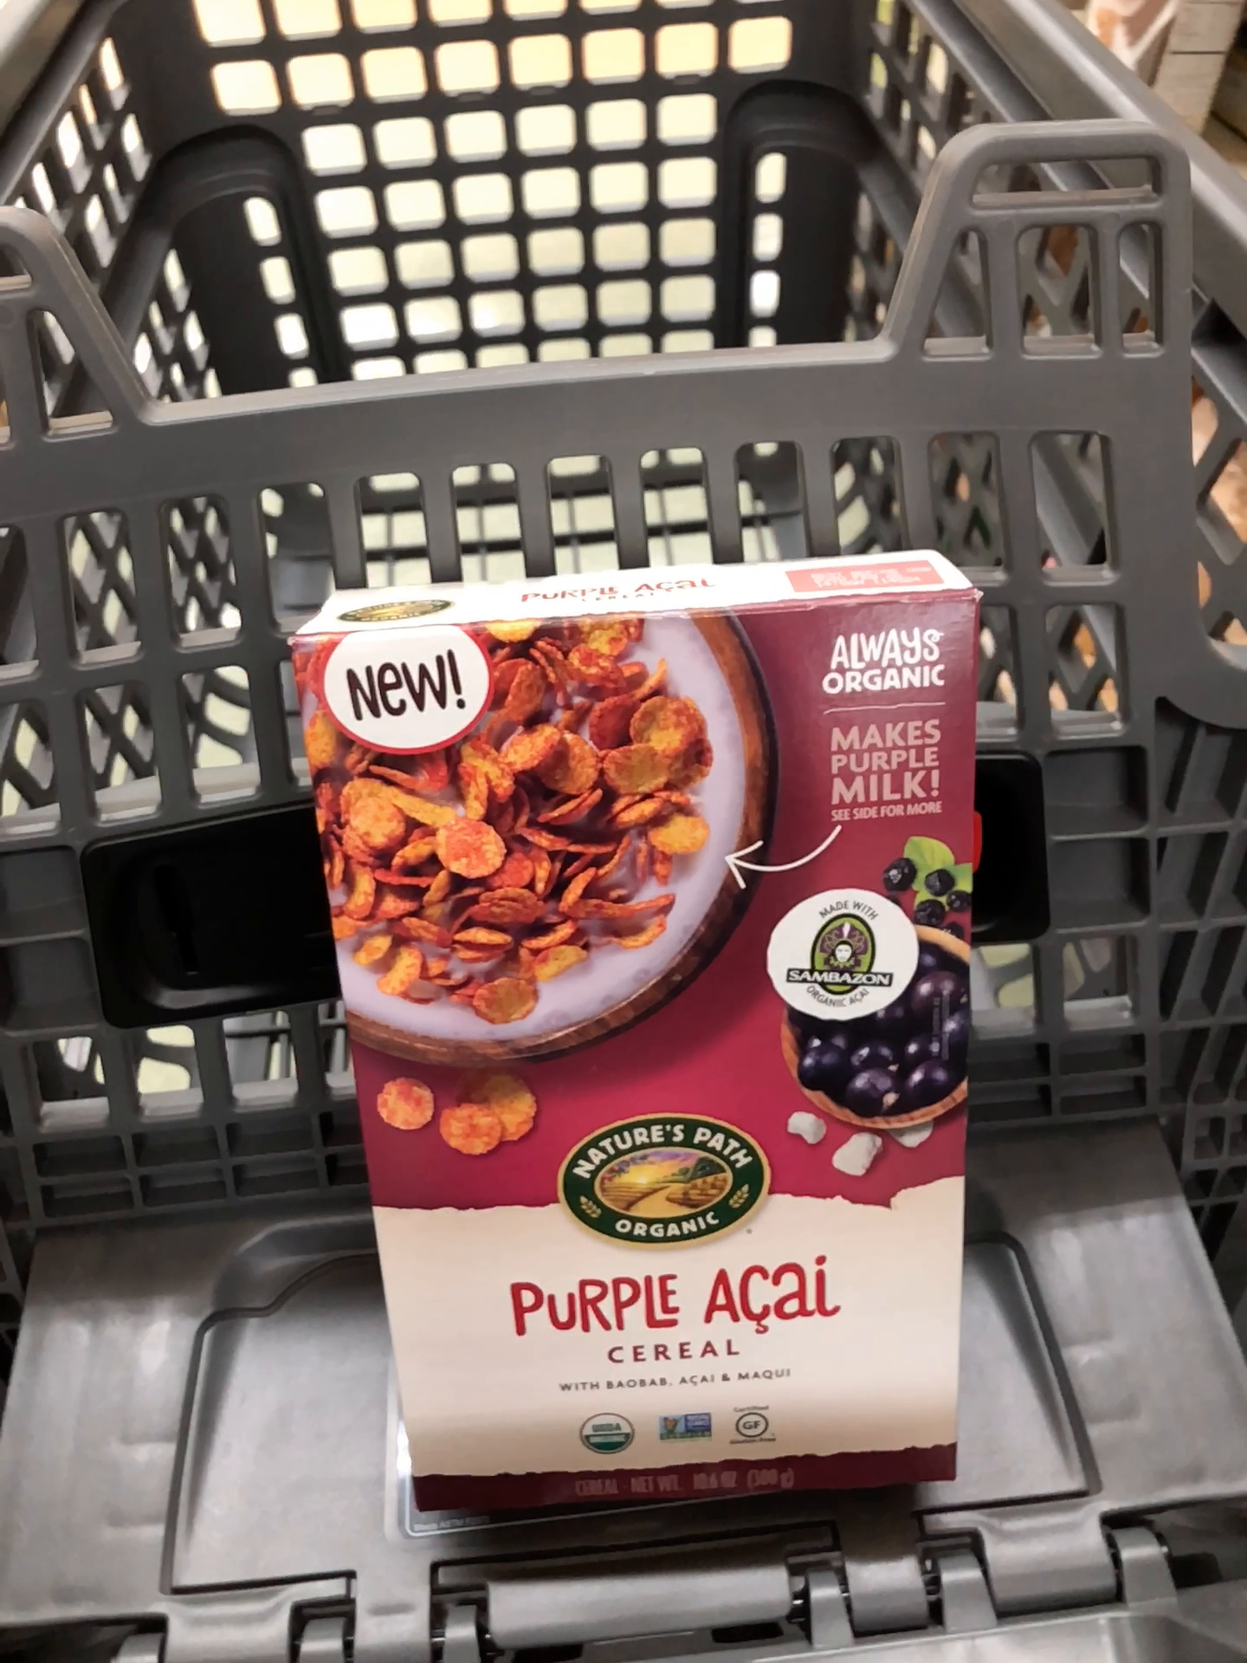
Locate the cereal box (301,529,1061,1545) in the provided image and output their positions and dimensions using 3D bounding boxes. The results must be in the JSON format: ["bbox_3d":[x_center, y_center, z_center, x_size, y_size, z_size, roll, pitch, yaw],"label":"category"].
[{"bbox_3d":[0.019,0.062,0.388,0.170,0.270,0.070,-4,20,-1],"label":"cereal box"}]
